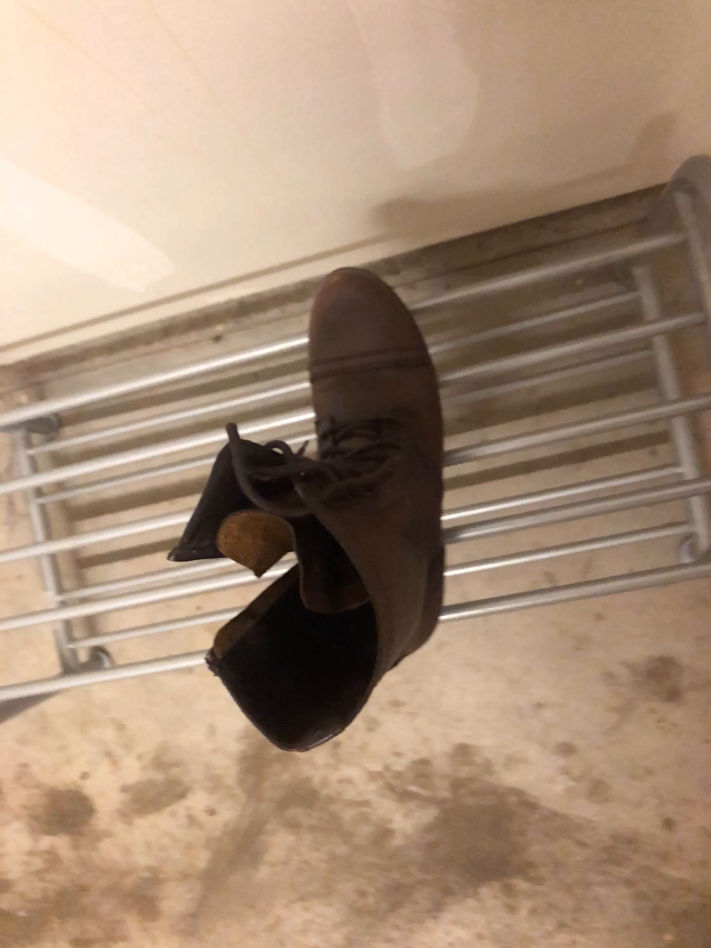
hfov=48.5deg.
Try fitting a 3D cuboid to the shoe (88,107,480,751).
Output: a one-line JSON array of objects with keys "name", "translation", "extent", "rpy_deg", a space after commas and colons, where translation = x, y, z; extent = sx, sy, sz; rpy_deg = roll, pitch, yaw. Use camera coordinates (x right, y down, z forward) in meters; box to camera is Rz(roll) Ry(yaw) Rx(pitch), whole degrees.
[{"name": "shoe", "translation": [-0.019, -0.020, 0.486], "extent": [0.122, 0.239, 0.287], "rpy_deg": [-8, 91, 16]}]
